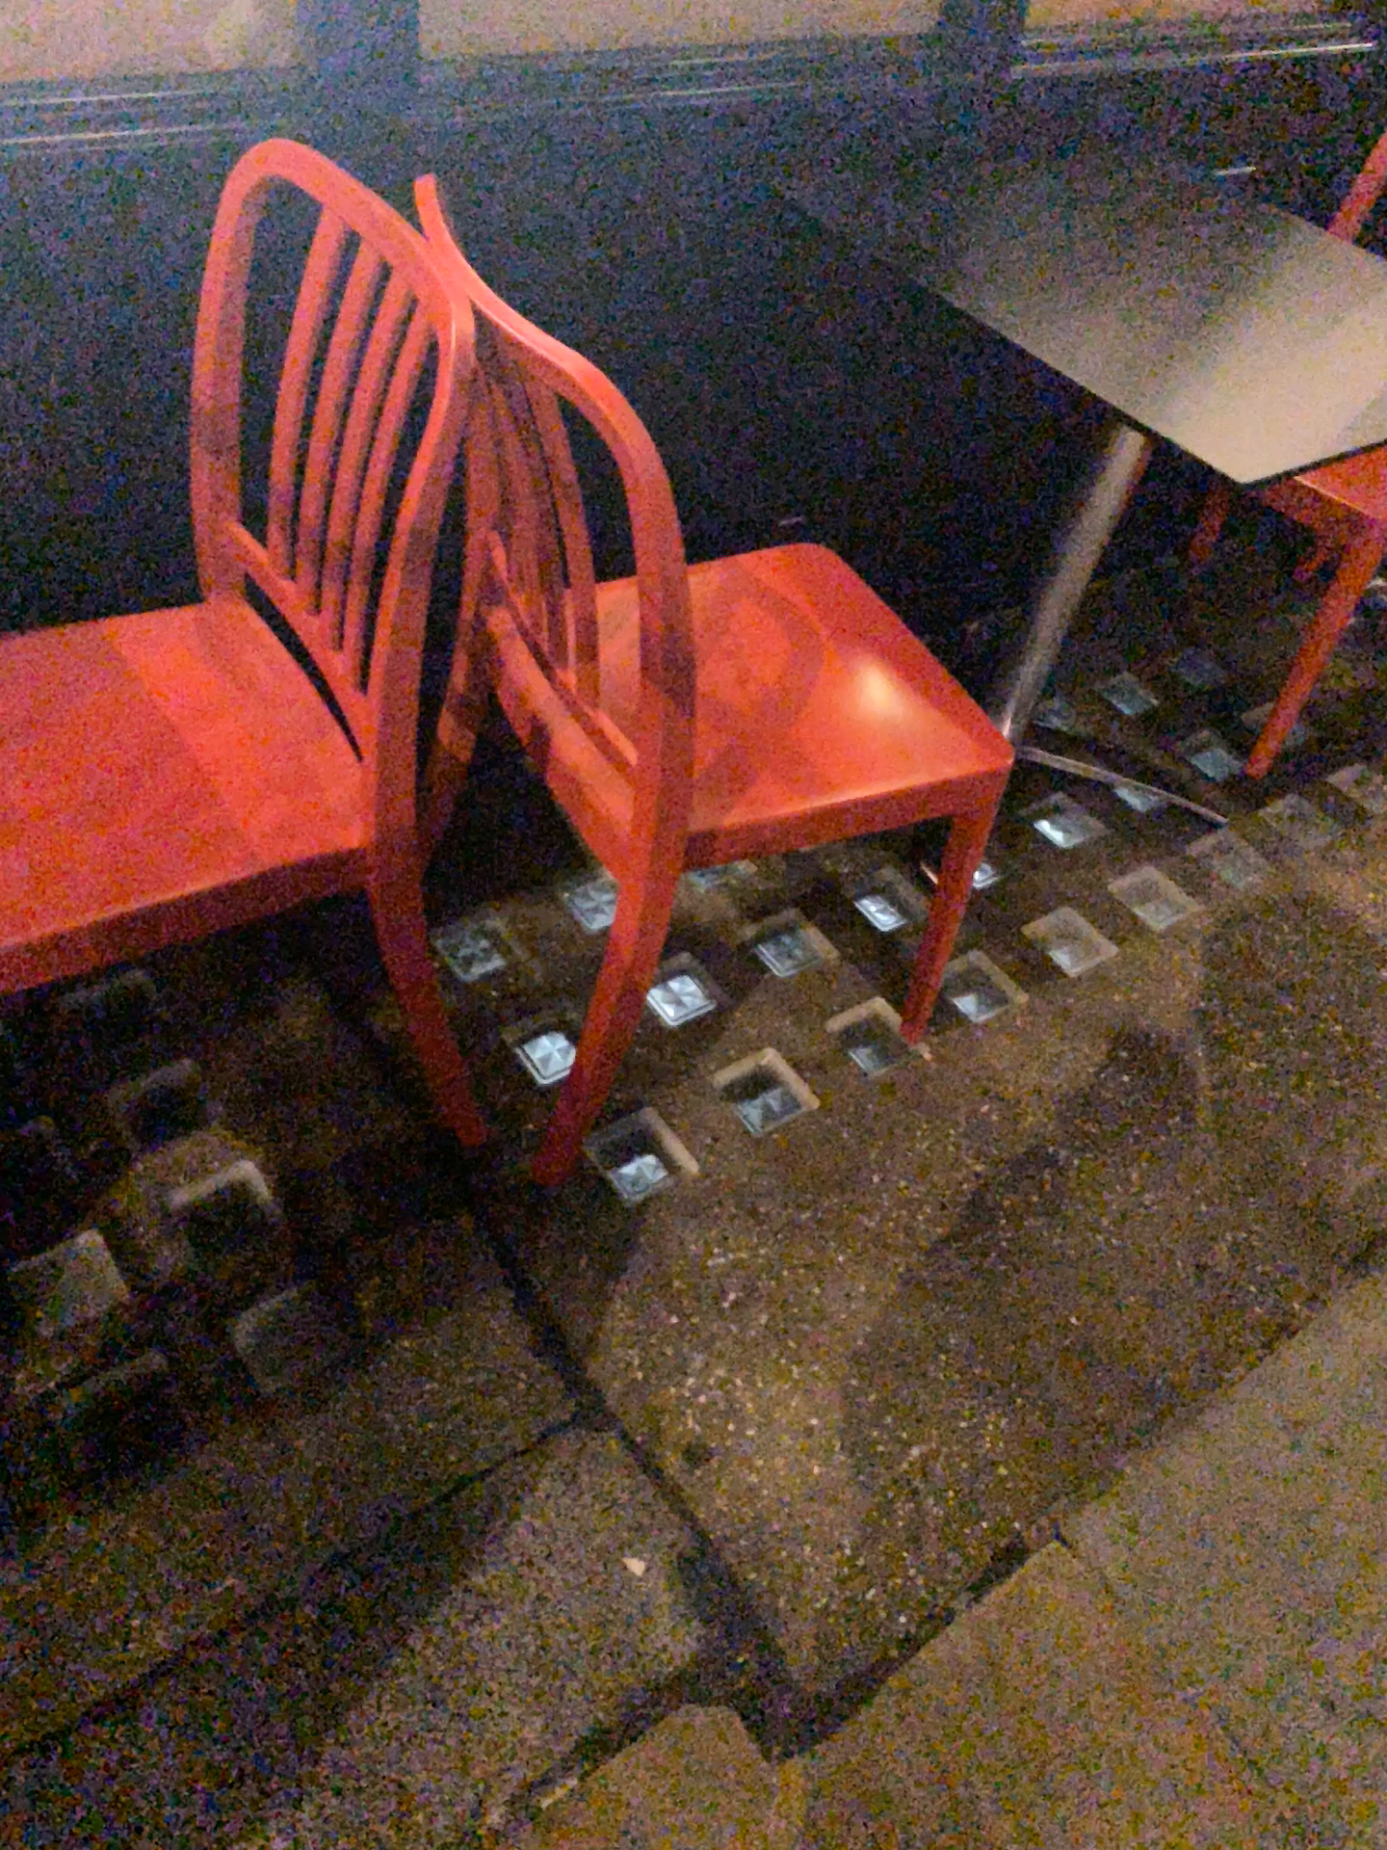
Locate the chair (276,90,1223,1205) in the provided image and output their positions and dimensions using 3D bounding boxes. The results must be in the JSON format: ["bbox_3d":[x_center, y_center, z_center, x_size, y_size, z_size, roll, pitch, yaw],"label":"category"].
[{"bbox_3d":[-0.013,-0.283,1.437,0.562,0.851,0.574,-19,50,-26],"label":"chair"}]

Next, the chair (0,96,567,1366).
[{"bbox_3d":[-0.500,-0.167,1.248,0.542,0.851,0.544,-22,51,-28],"label":"chair"}]
